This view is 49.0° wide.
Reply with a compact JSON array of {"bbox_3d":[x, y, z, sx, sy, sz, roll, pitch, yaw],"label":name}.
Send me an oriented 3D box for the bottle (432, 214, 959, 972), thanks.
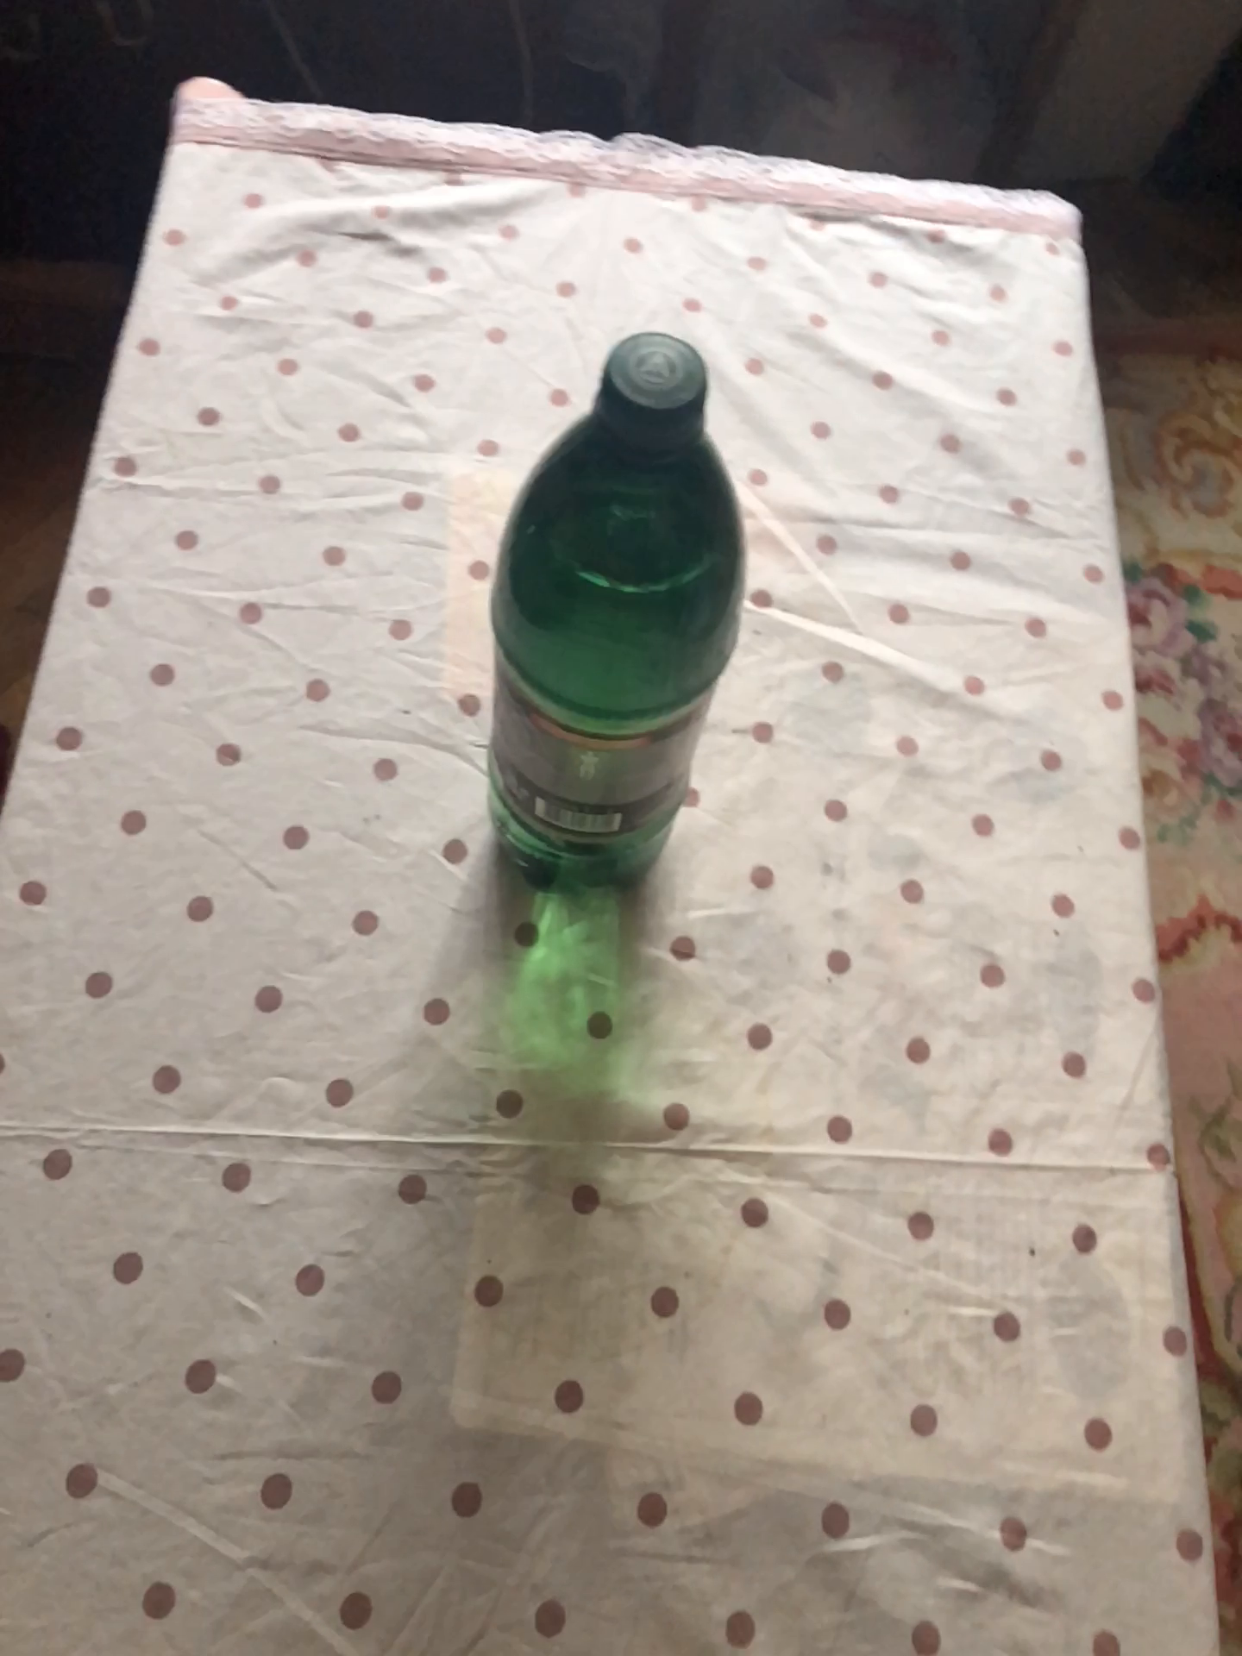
[{"bbox_3d":[0.008,-0.056,0.483,0.100,0.279,0.100,2,67,-4],"label":"bottle"}]
